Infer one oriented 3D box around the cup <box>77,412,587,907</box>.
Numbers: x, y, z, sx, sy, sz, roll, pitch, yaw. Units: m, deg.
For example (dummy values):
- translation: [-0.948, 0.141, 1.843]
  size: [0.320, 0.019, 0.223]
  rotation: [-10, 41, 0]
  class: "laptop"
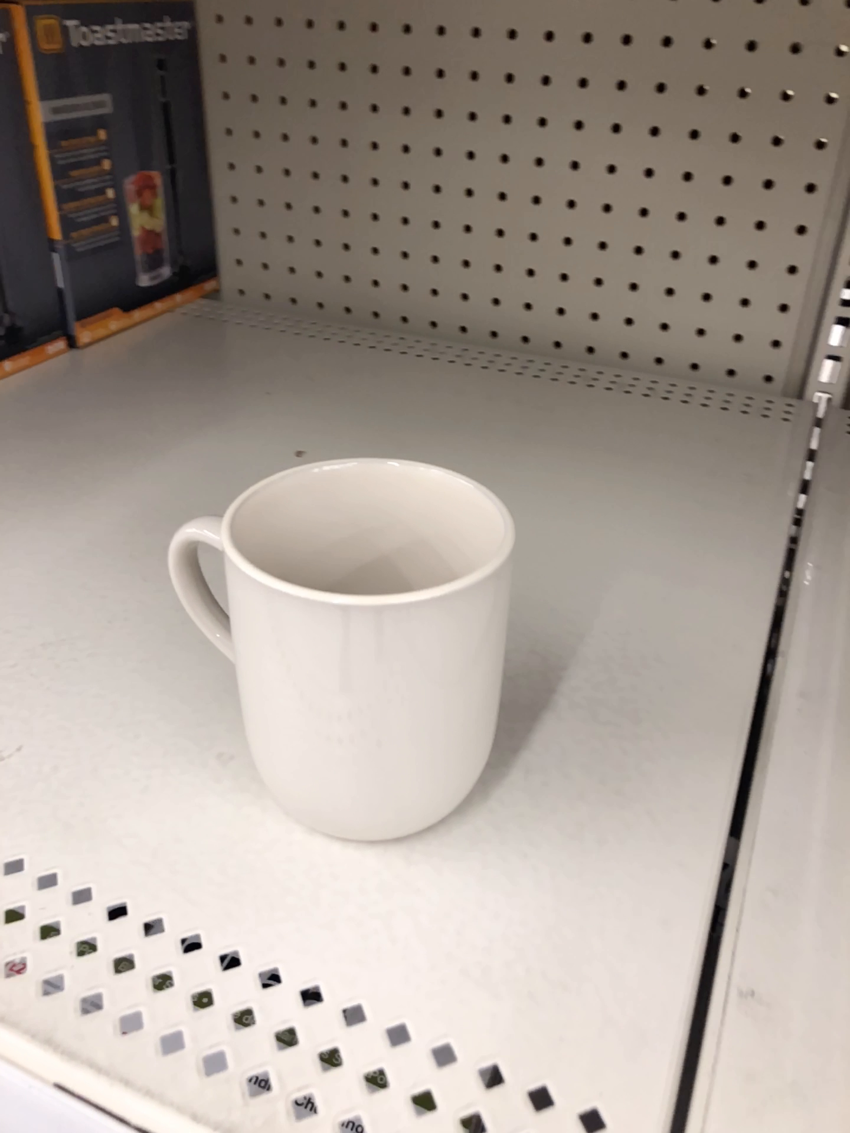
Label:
- translation: [-0.027, 0.020, 0.298]
  size: [0.121, 0.090, 0.087]
  rotation: [18, 34, 25]
  class: "cup"
